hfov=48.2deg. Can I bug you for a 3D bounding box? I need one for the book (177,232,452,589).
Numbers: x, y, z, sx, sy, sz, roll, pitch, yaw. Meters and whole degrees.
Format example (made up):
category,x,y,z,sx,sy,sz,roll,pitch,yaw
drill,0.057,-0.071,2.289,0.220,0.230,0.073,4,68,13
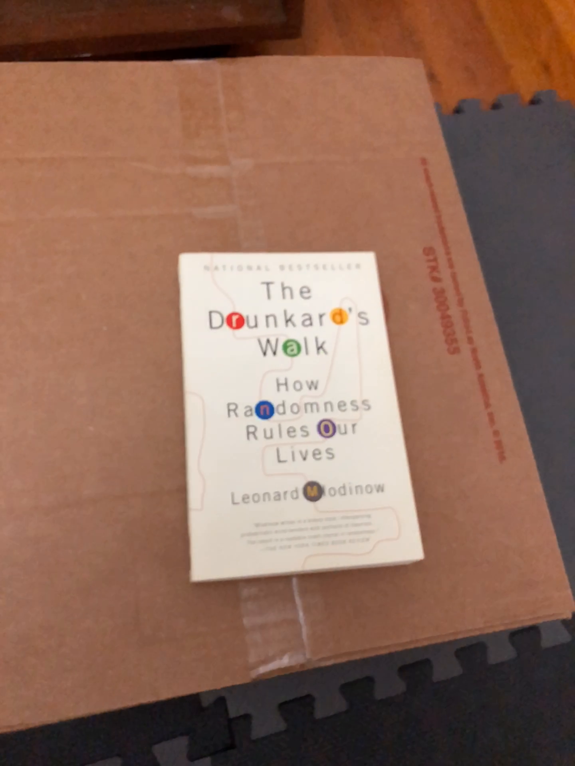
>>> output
category,x,y,z,sx,sy,sz,roll,pitch,yaw
book,0.008,0.009,0.396,0.140,0.040,0.210,-3,70,-9
